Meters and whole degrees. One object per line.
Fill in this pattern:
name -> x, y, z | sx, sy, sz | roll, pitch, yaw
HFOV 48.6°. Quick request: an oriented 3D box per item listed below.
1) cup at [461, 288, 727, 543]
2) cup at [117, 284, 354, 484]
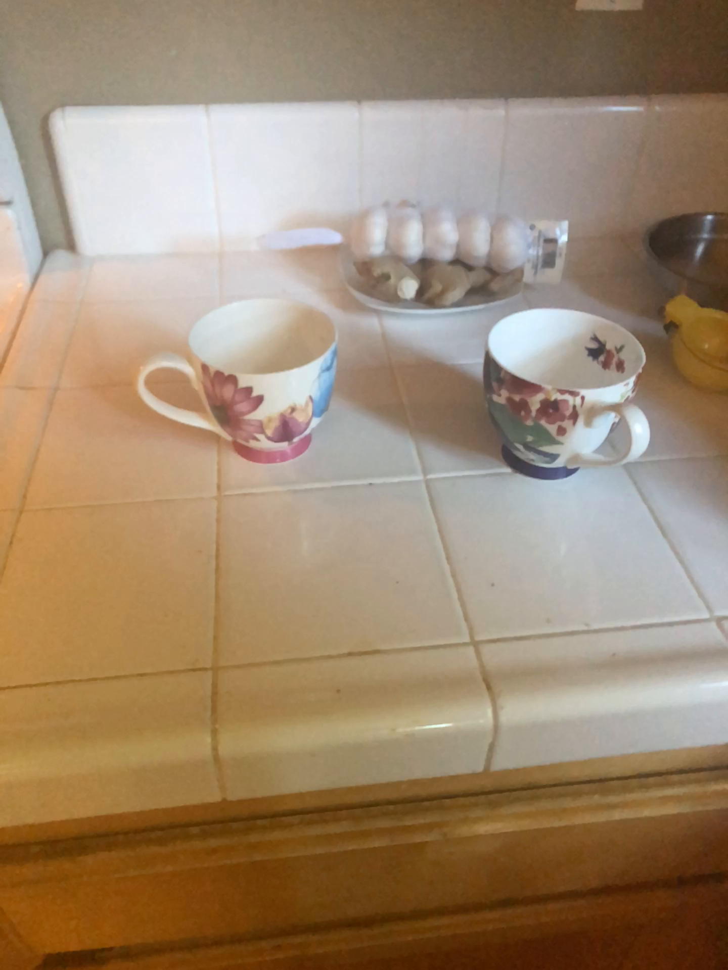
cup -> 0.154, -0.055, 0.562 | 0.110, 0.089, 0.151 | -13, 43, -15
cup -> -0.092, -0.076, 0.581 | 0.150, 0.079, 0.111 | -8, 42, -10
